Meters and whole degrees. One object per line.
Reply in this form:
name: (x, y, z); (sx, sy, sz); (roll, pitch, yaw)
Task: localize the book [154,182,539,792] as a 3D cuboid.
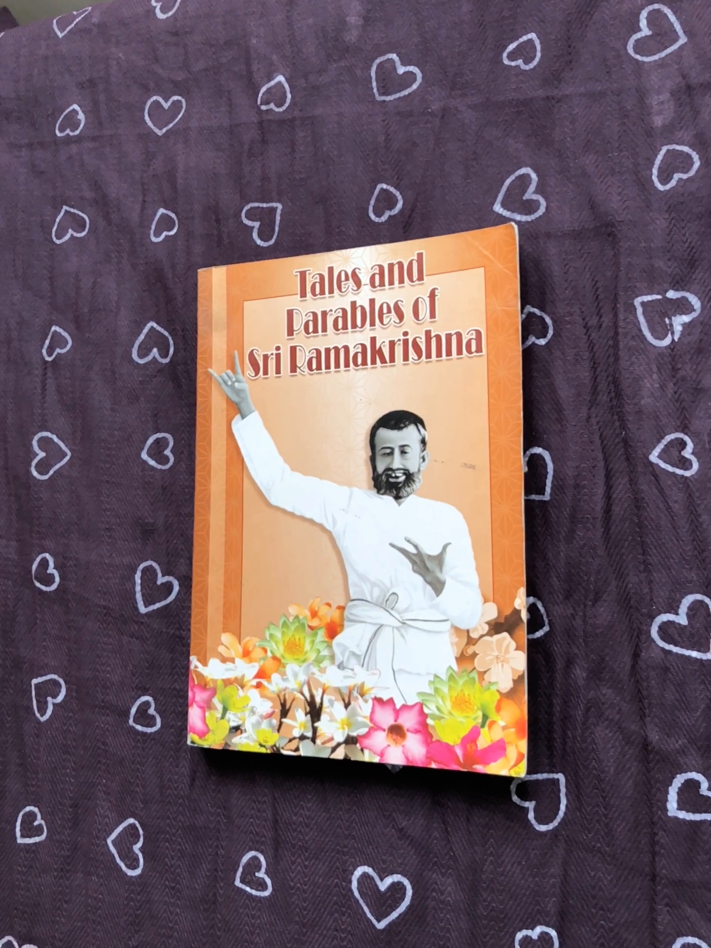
book: (-0.006, 0.003, 0.277); (0.130, 0.020, 0.190); (-2, 82, 20)
